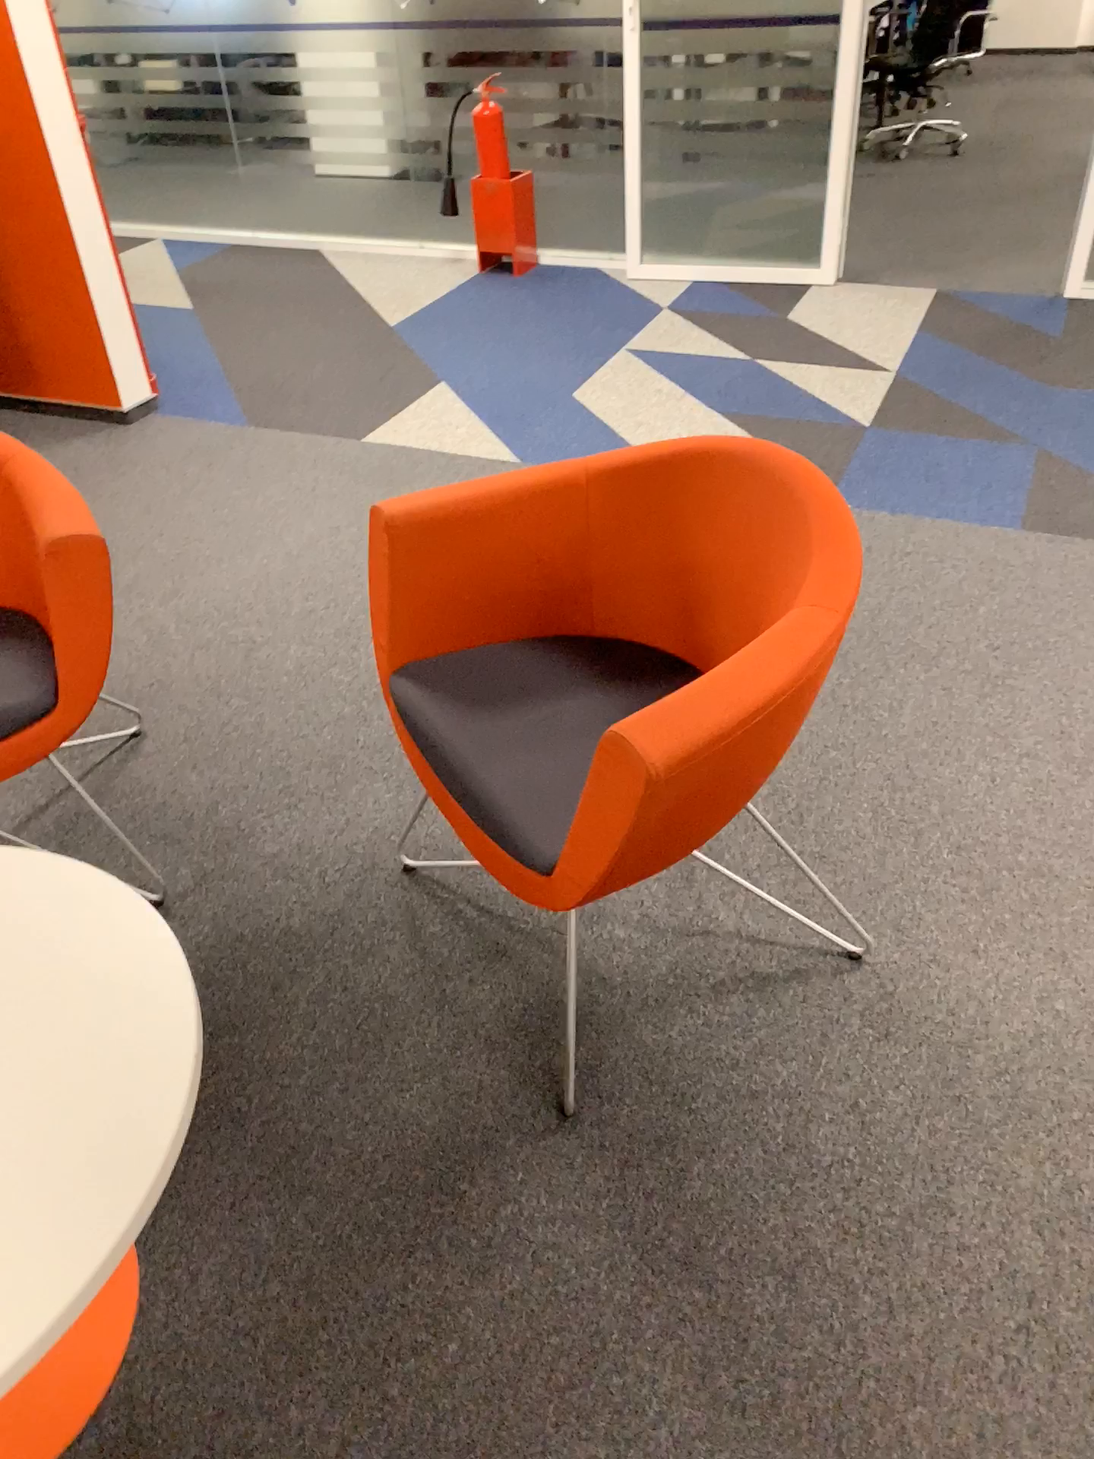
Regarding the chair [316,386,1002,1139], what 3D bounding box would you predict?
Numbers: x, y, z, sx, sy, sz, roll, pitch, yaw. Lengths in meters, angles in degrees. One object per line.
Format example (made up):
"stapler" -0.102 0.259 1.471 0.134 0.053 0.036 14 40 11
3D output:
"chair" 0.125 0.004 1.631 0.621 0.706 0.643 -21 40 -21
